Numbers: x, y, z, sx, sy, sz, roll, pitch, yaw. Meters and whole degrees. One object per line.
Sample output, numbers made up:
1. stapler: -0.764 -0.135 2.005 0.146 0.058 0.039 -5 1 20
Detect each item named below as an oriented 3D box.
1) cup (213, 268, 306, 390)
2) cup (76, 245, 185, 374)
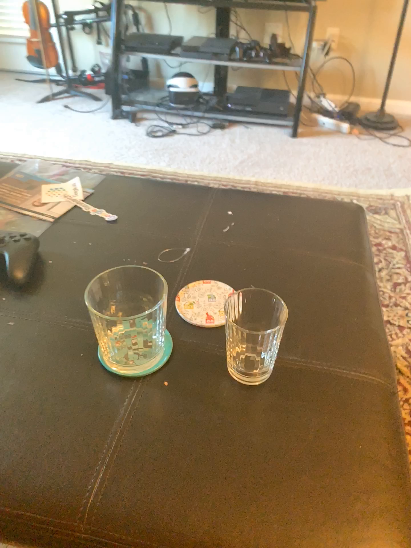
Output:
1. cup: 0.055 0.057 0.447 0.060 0.089 0.070 28 45 29
2. cup: -0.079 0.037 0.470 0.080 0.089 0.080 1 38 -1
